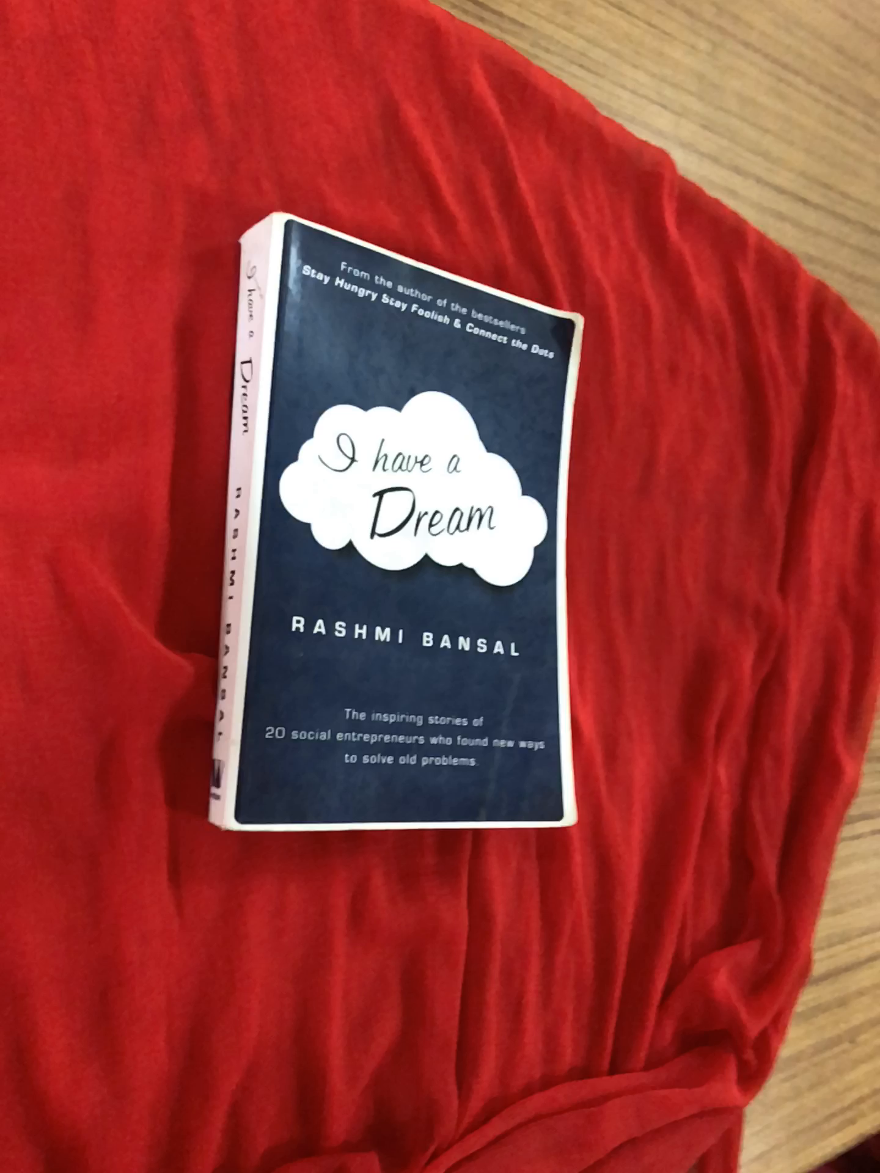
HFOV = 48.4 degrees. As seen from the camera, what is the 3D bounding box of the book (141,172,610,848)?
[{"bbox_3d":[-0.014,-0.016,0.321,0.141,0.040,0.190,7,81,-30],"label":"book"}]
